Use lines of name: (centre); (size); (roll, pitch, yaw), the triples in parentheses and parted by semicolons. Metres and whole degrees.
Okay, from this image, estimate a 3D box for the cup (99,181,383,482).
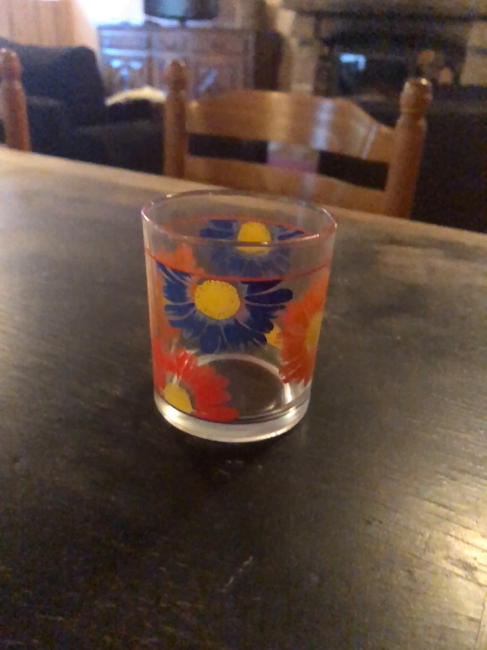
cup: (0.001, -0.006, 0.217); (0.075, 0.079, 0.079); (3, 26, -1)
